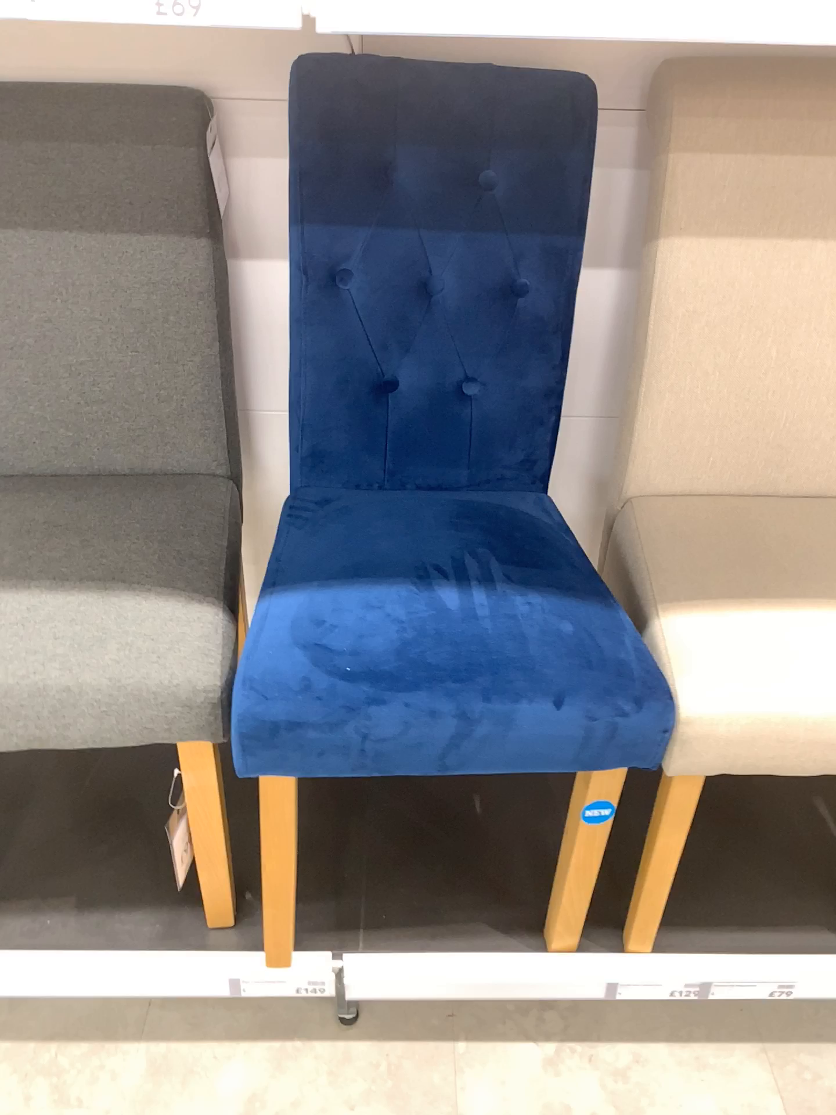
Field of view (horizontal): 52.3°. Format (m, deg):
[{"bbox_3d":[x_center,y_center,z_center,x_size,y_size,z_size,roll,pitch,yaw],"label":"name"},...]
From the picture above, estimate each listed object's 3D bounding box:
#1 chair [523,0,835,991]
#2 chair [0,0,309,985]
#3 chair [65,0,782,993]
[{"bbox_3d":[0.468,-0.078,1.122,0.489,1.035,0.673,1,28,-2],"label":"chair"},{"bbox_3d":[-0.437,-0.082,1.122,0.489,1.025,0.673,1,28,-2],"label":"chair"},{"bbox_3d":[-0.013,-0.079,1.115,0.489,1.035,0.673,1,28,-2],"label":"chair"}]
